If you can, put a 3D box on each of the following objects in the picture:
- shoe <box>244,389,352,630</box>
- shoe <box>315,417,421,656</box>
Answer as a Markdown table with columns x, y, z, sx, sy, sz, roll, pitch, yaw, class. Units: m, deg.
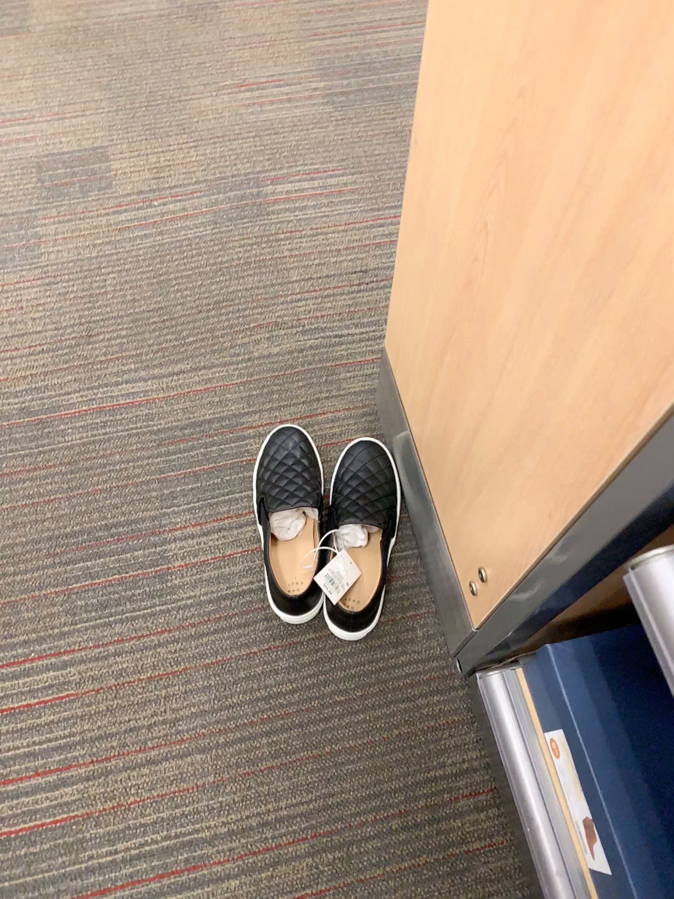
| x | y | z | sx | sy | sz | roll | pitch | yaw | class |
| --- | --- | --- | --- | --- | --- | --- | --- | --- | --- |
| -0.050 | 0.069 | 0.823 | 0.100 | 0.100 | 0.261 | -5 | 63 | -4 | shoe |
| 0.039 | 0.102 | 0.833 | 0.100 | 0.100 | 0.261 | 6 | 63 | 2 | shoe |
